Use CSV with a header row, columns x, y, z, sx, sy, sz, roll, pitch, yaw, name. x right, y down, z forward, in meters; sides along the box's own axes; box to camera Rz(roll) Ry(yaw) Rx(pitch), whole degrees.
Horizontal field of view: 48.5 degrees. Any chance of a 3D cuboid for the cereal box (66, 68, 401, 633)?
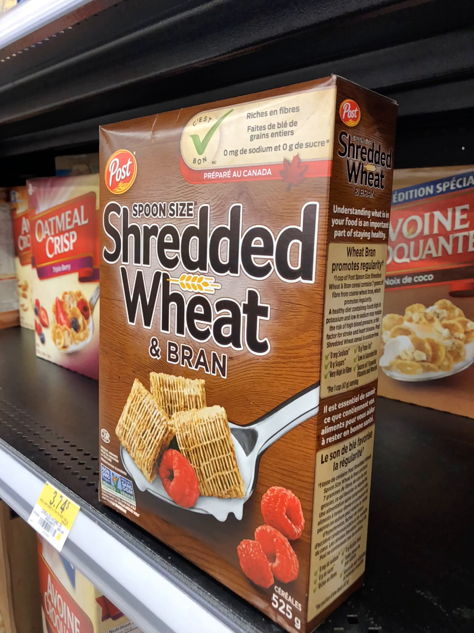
x,y,z,sx,sy,sz,roll,pitch,yaw,name
-0.021,0.012,0.322,0.210,0.259,0.060,10,12,43,cereal box
